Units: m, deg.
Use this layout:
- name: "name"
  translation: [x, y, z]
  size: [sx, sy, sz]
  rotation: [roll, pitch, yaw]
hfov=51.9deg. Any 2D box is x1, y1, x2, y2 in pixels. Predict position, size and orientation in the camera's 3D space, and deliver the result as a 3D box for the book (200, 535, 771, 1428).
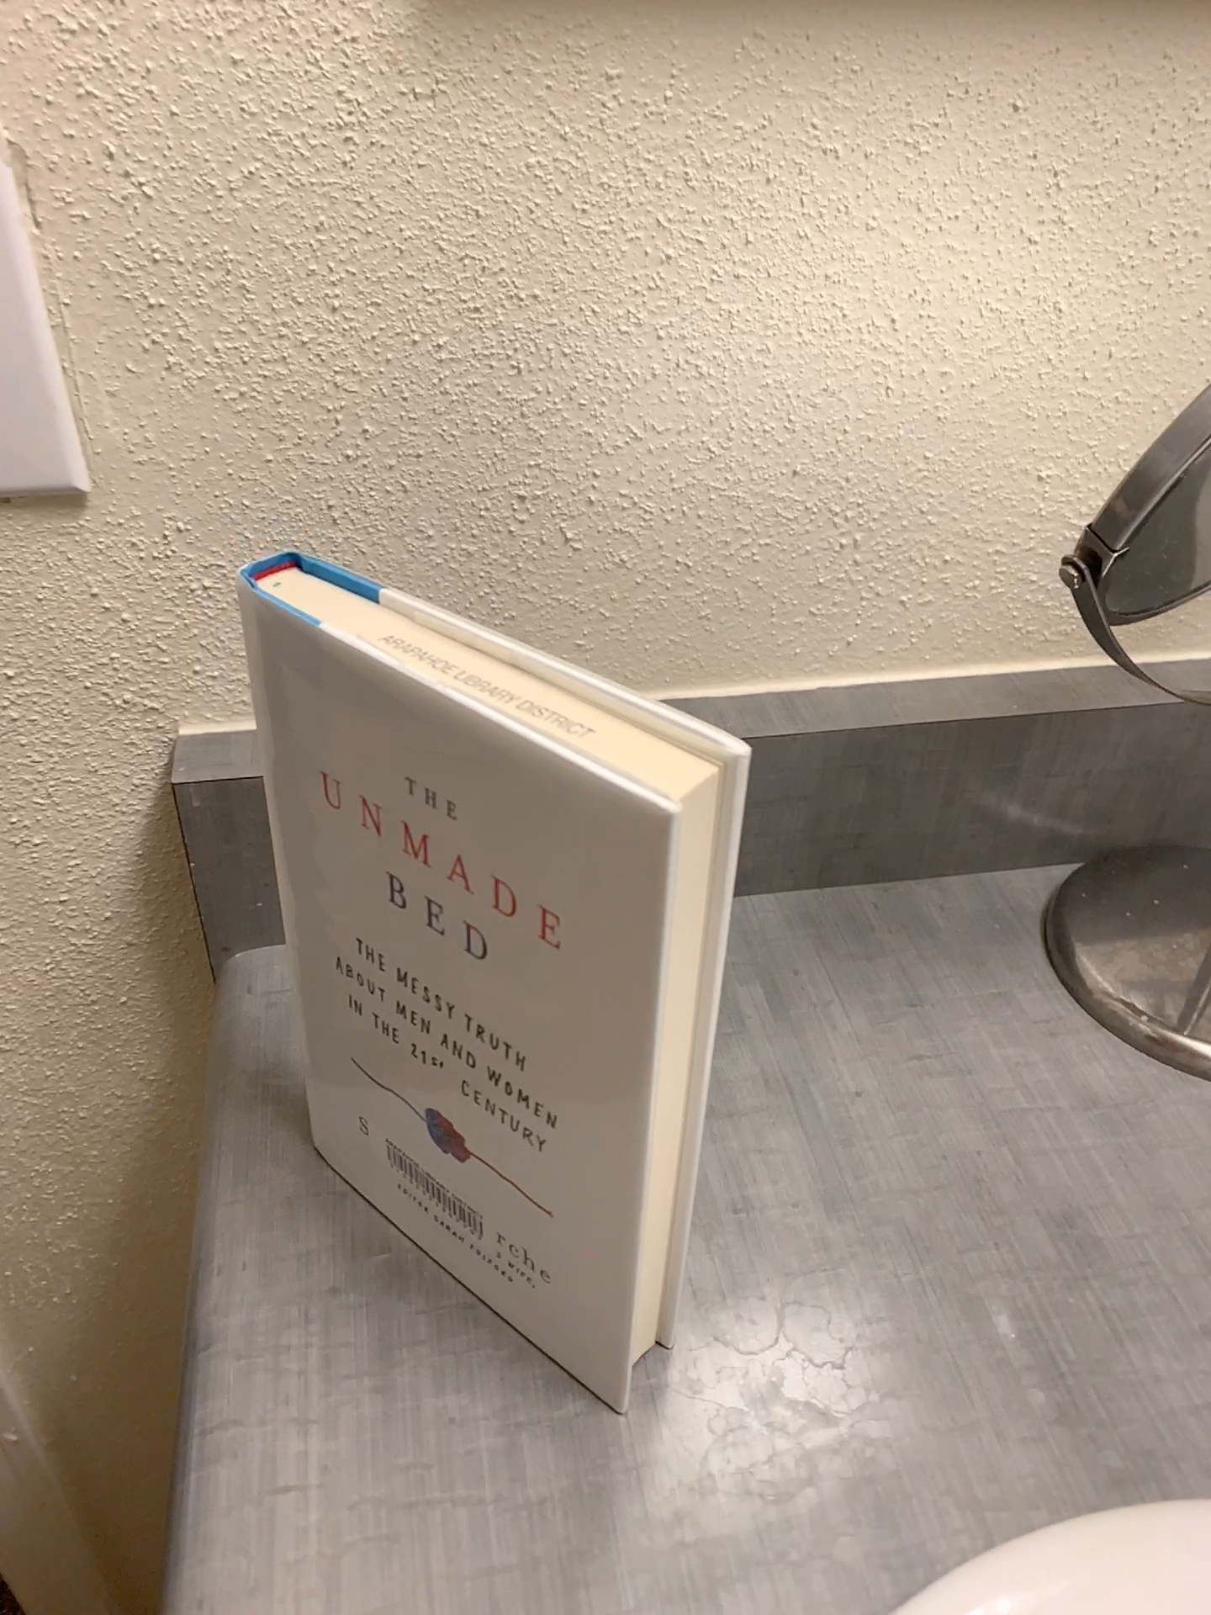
- name: "book"
  translation: [-0.039, 0.052, 0.345]
  size: [0.152, 0.214, 0.033]
  rotation: [28, 42, 32]
